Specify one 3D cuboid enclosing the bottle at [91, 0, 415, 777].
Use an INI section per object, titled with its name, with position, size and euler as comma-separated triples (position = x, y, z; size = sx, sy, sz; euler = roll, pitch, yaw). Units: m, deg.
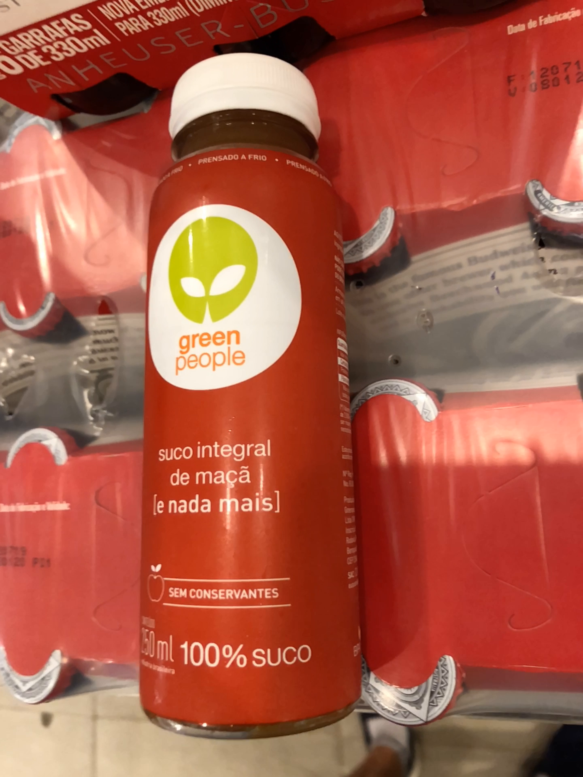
[bottle]
position = -0.009, -0.015, 0.159
size = 0.060, 0.040, 0.180
euler = -5, 80, 22
